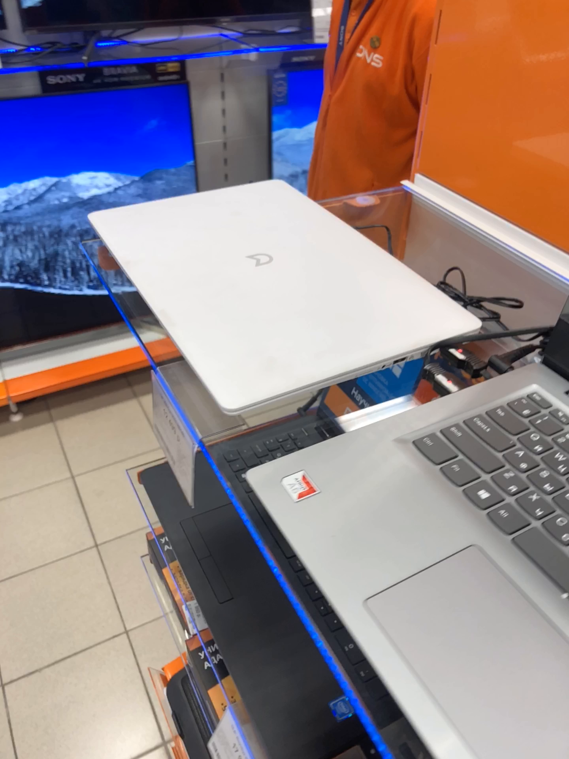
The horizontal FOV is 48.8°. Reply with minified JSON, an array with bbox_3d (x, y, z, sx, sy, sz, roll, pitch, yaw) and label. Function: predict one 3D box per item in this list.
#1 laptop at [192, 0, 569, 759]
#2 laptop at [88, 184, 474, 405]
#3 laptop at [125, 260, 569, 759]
[{"bbox_3d":[0.180,0.019,0.221,0.279,0.224,0.345,-18,42,-24],"label":"laptop"},{"bbox_3d":[-0.023,-0.100,0.542,0.212,0.002,0.314,-17,41,-23],"label":"laptop"},{"bbox_3d":[0.051,0.086,0.627,0.306,0.228,0.365,-15,40,-21],"label":"laptop"}]
